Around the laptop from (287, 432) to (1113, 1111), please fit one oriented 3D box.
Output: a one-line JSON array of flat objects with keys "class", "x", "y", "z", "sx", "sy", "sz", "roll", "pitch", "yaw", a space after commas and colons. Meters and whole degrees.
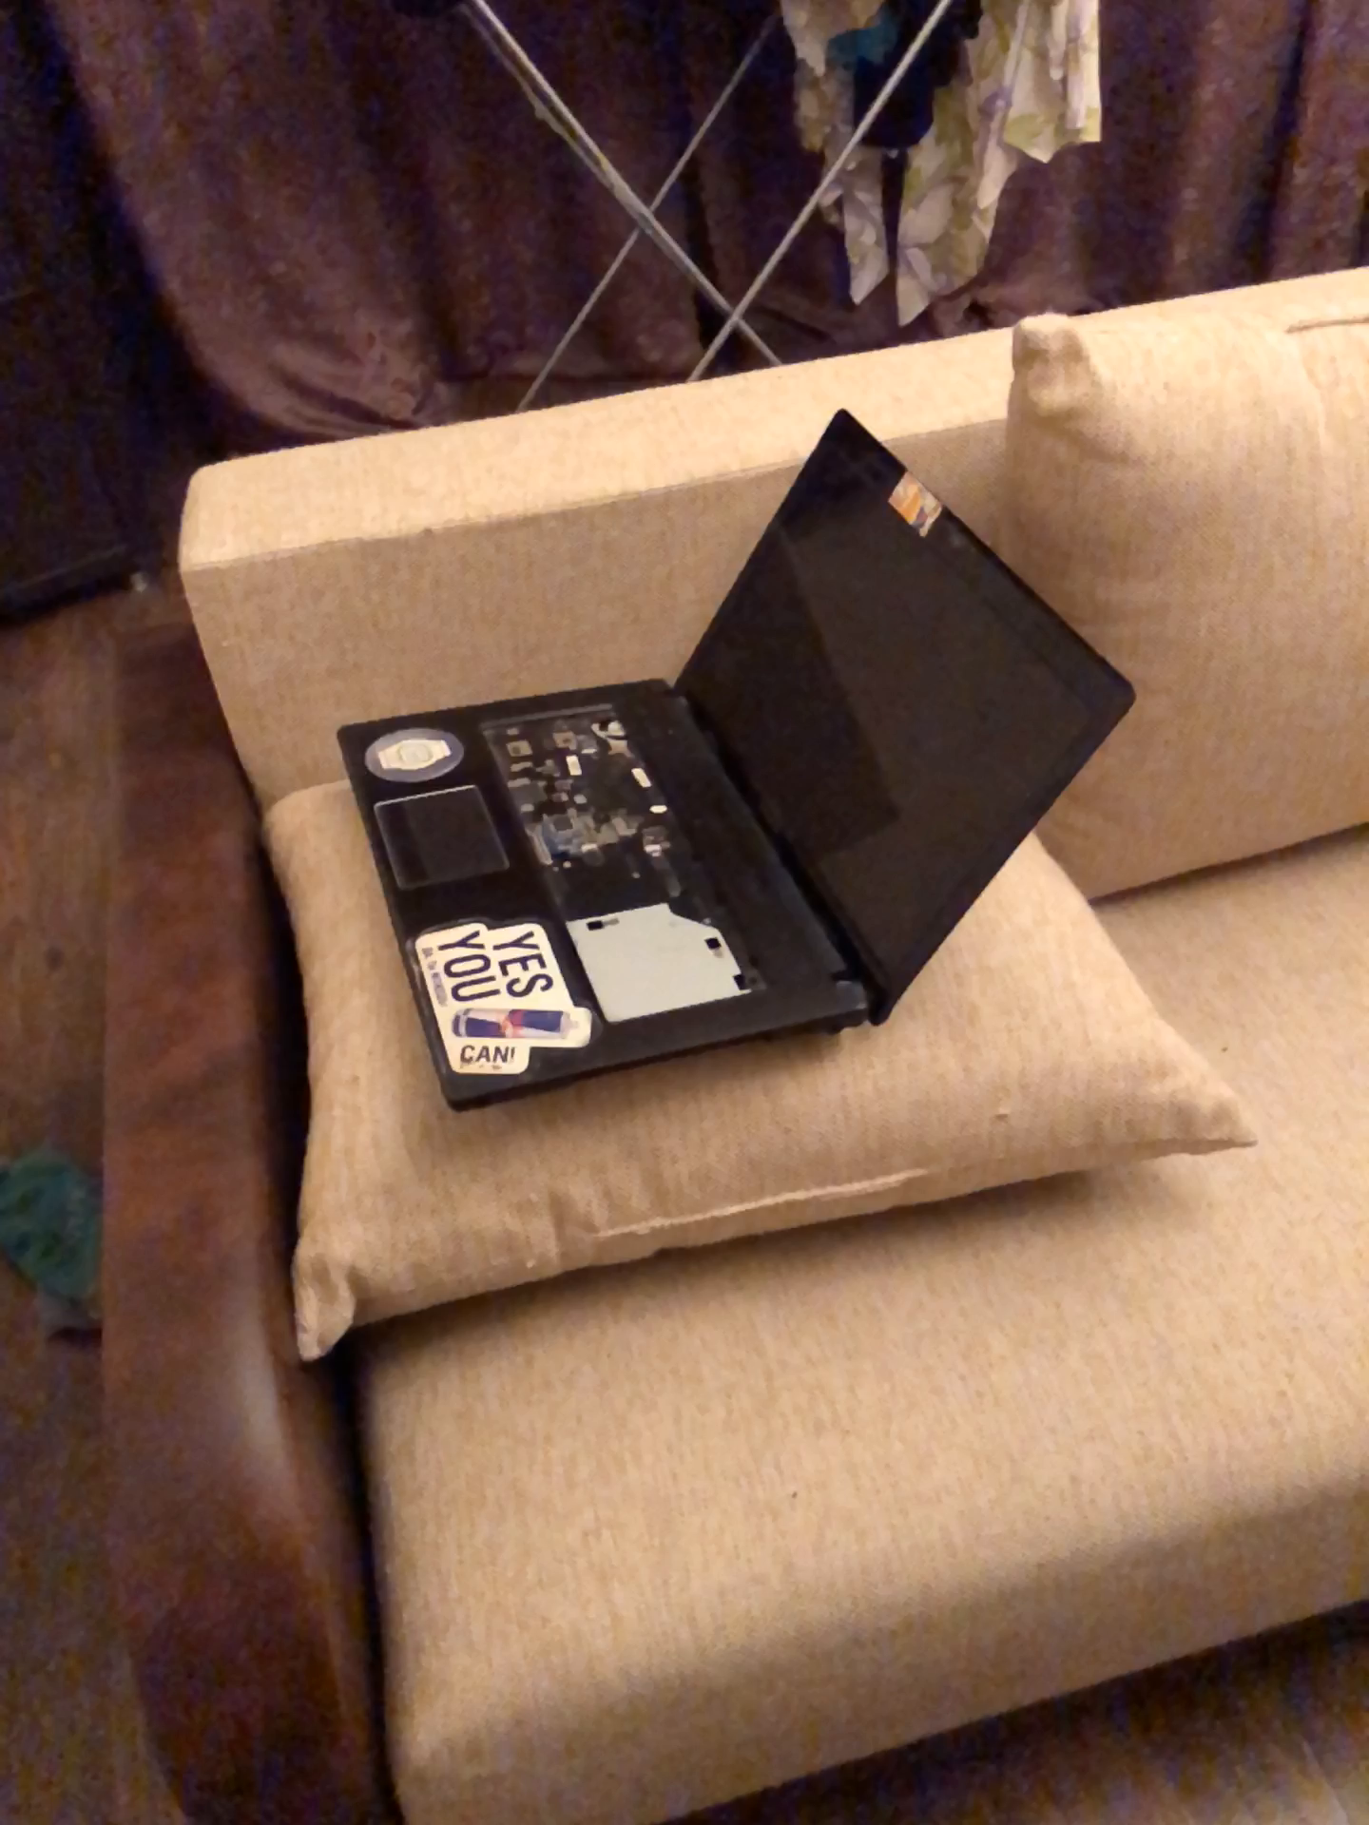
[{"class": "laptop", "x": -0.013, "y": -0.124, "z": 1.020, "sx": 0.408, "sy": 0.198, "sz": 0.414, "roll": -13, "pitch": 43, "yaw": -13}]
